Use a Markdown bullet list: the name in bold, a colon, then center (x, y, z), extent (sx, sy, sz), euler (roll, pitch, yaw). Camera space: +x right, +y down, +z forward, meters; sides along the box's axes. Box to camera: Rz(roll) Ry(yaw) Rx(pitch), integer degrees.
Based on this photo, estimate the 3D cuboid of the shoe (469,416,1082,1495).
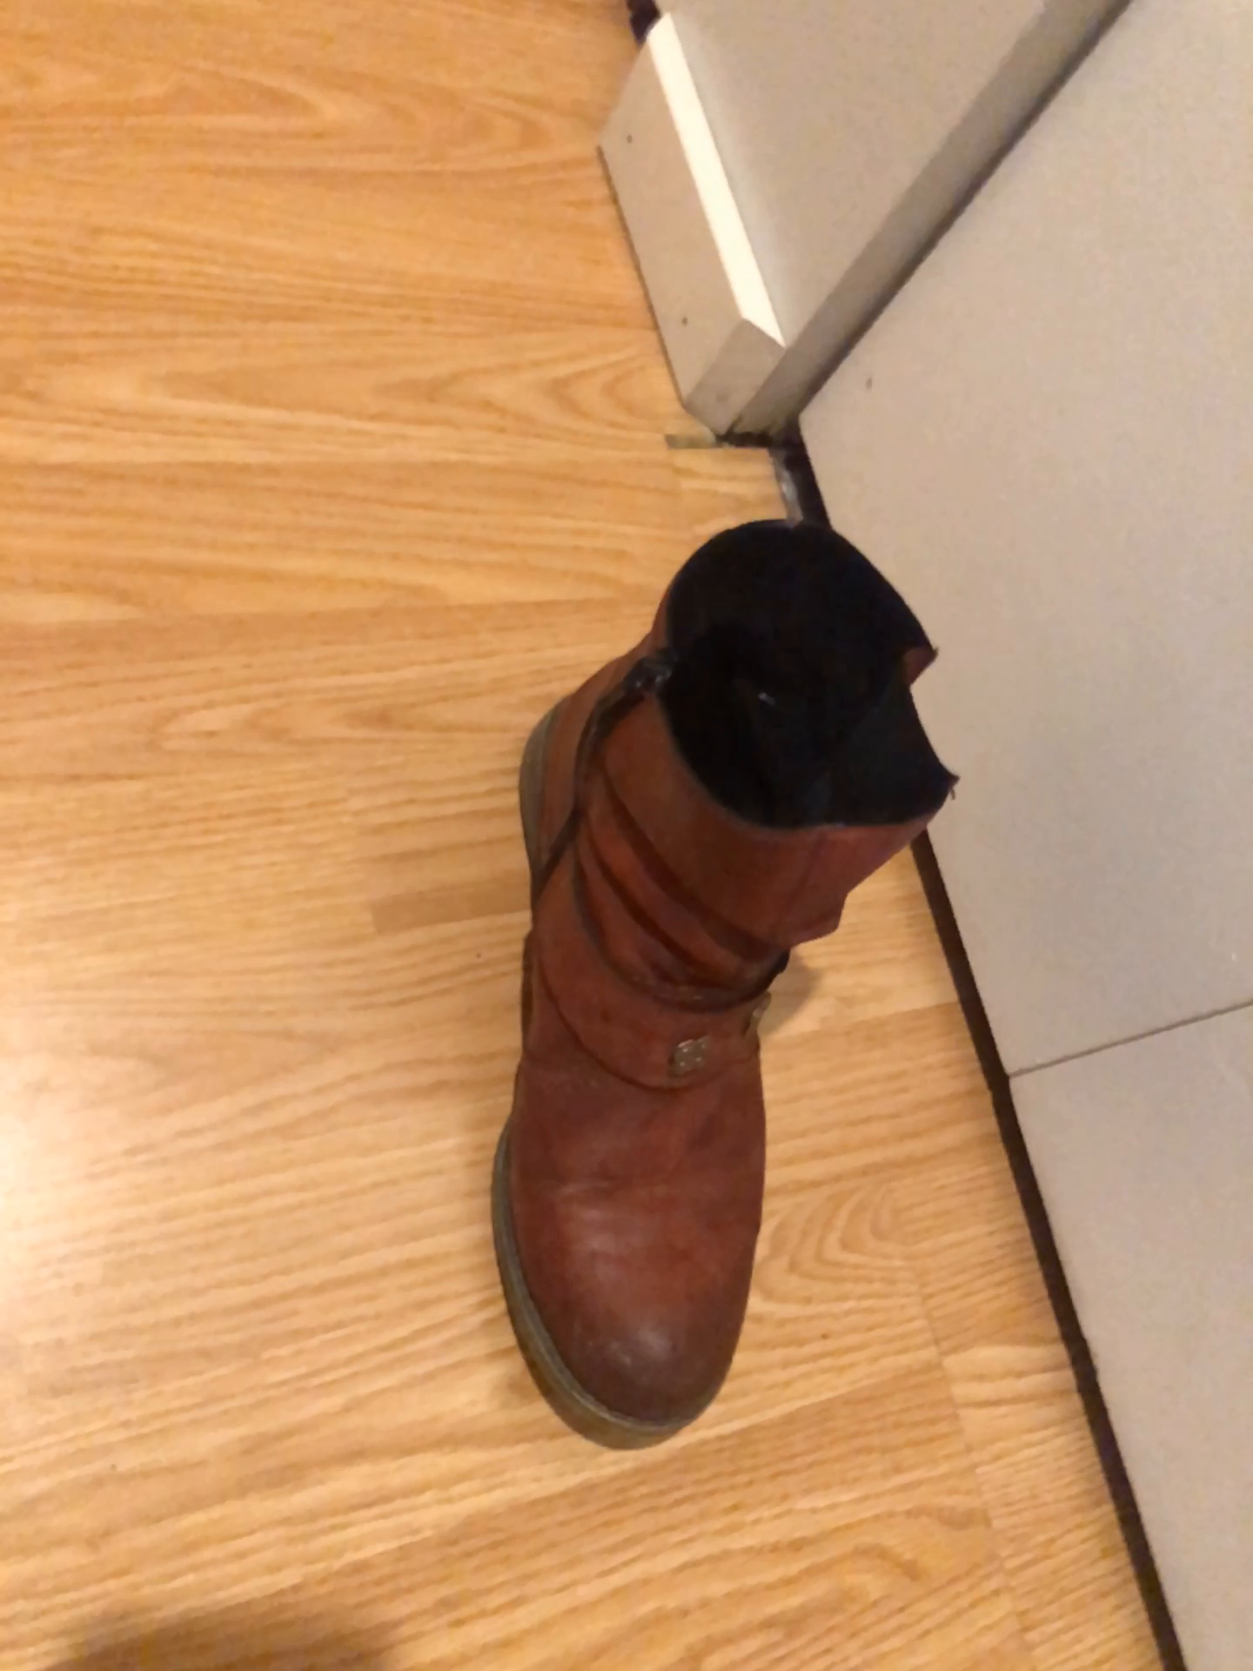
- **shoe**: center (0.026, 0.045, 0.428), extent (0.100, 0.170, 0.270), euler (7, 68, -20)
